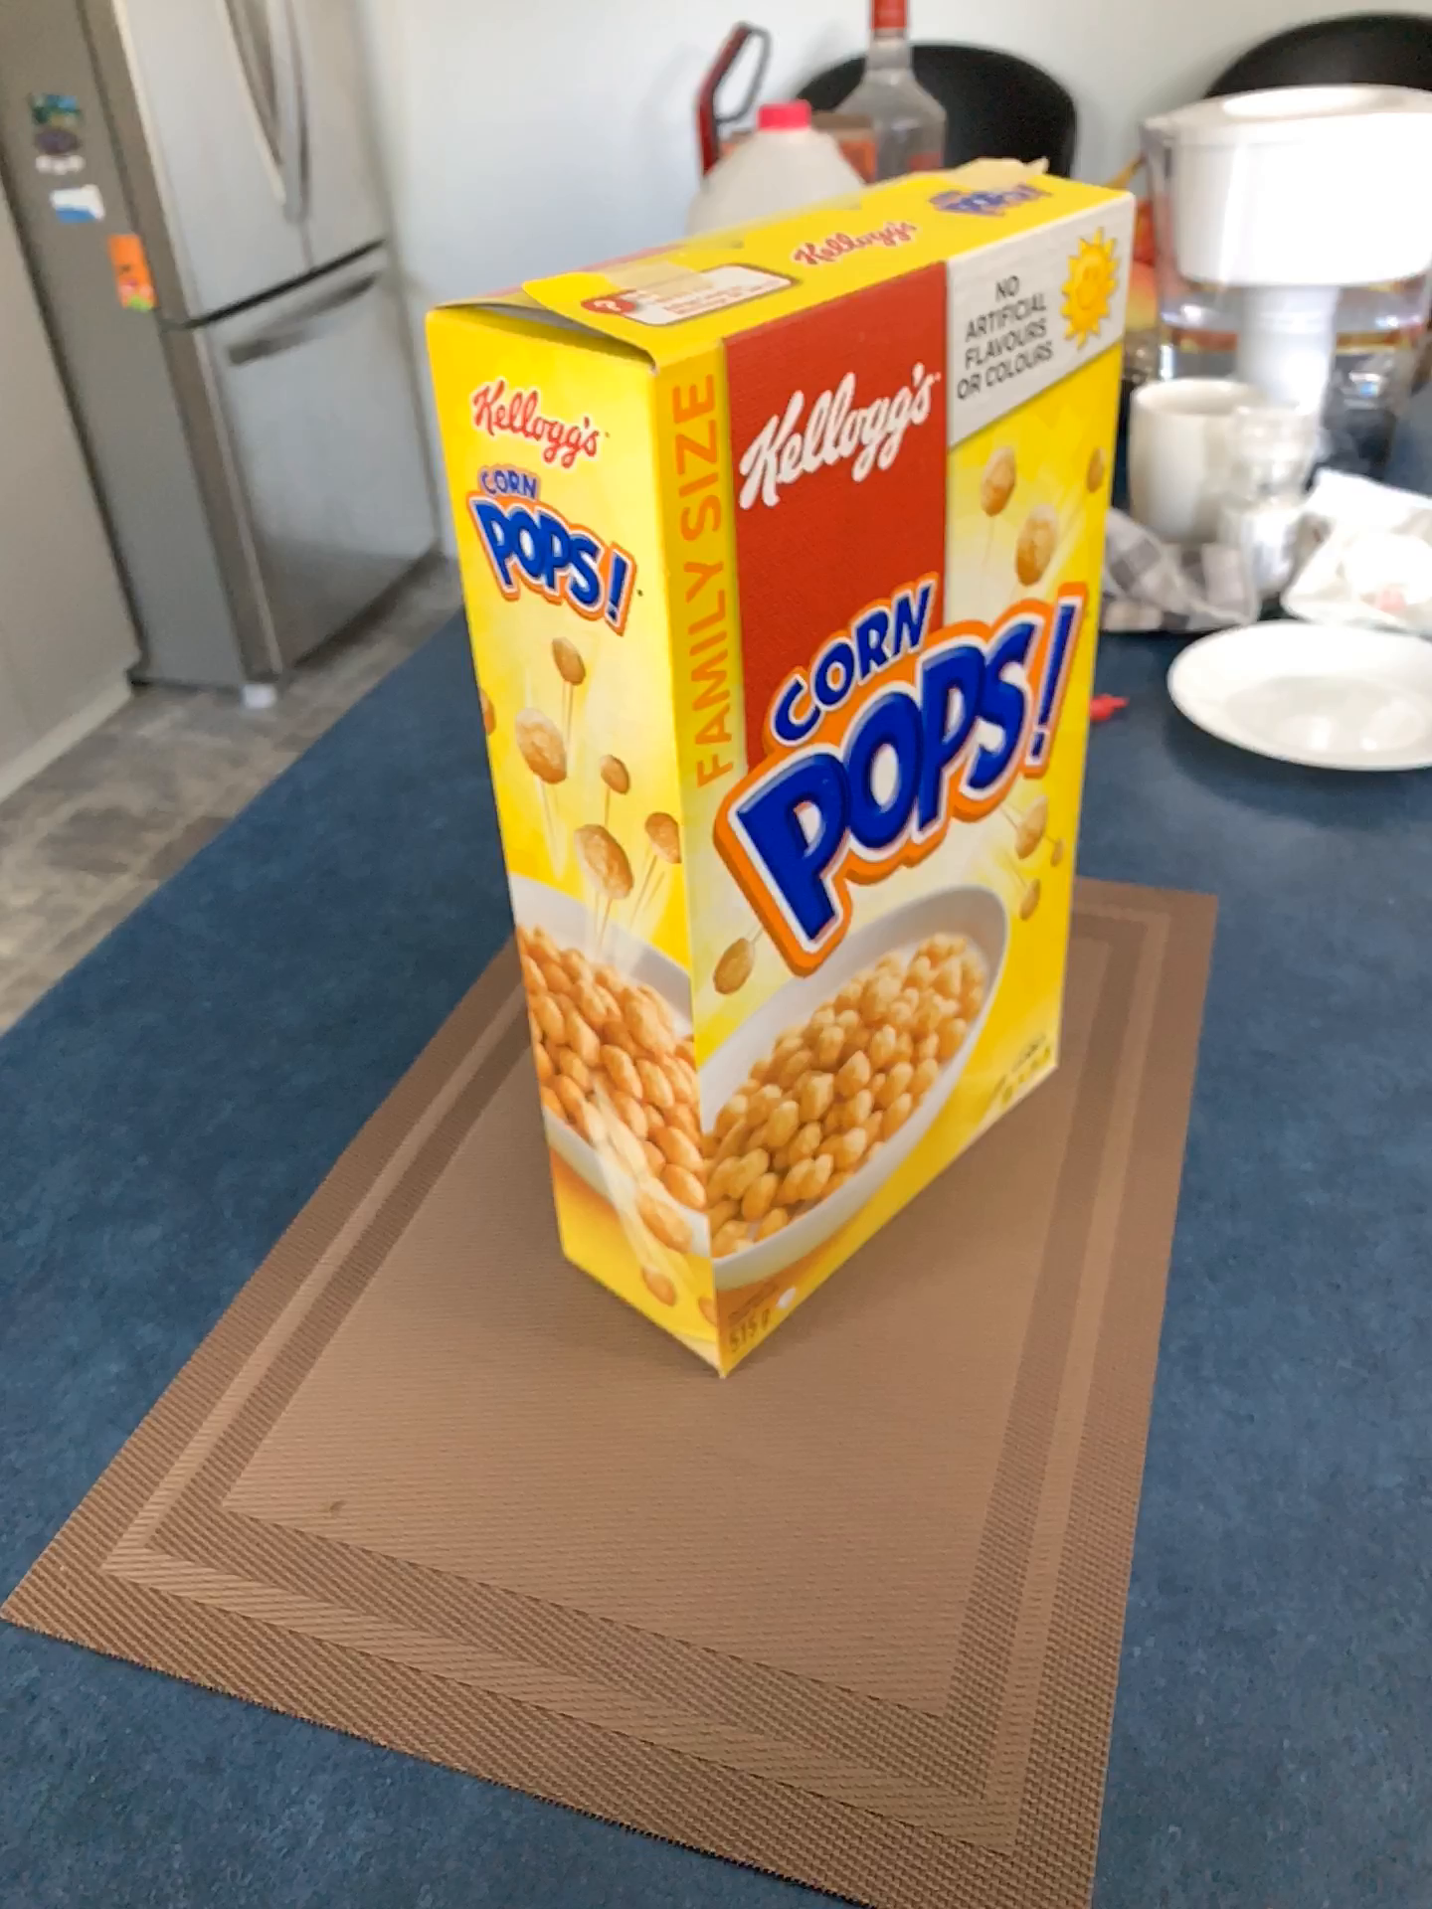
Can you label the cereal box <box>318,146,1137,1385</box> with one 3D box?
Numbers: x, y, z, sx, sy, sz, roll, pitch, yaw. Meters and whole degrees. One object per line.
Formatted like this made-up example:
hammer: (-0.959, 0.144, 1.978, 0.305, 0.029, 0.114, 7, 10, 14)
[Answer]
cereal box: (0.022, -0.058, 0.466, 0.090, 0.317, 0.211, 26, 44, 36)
